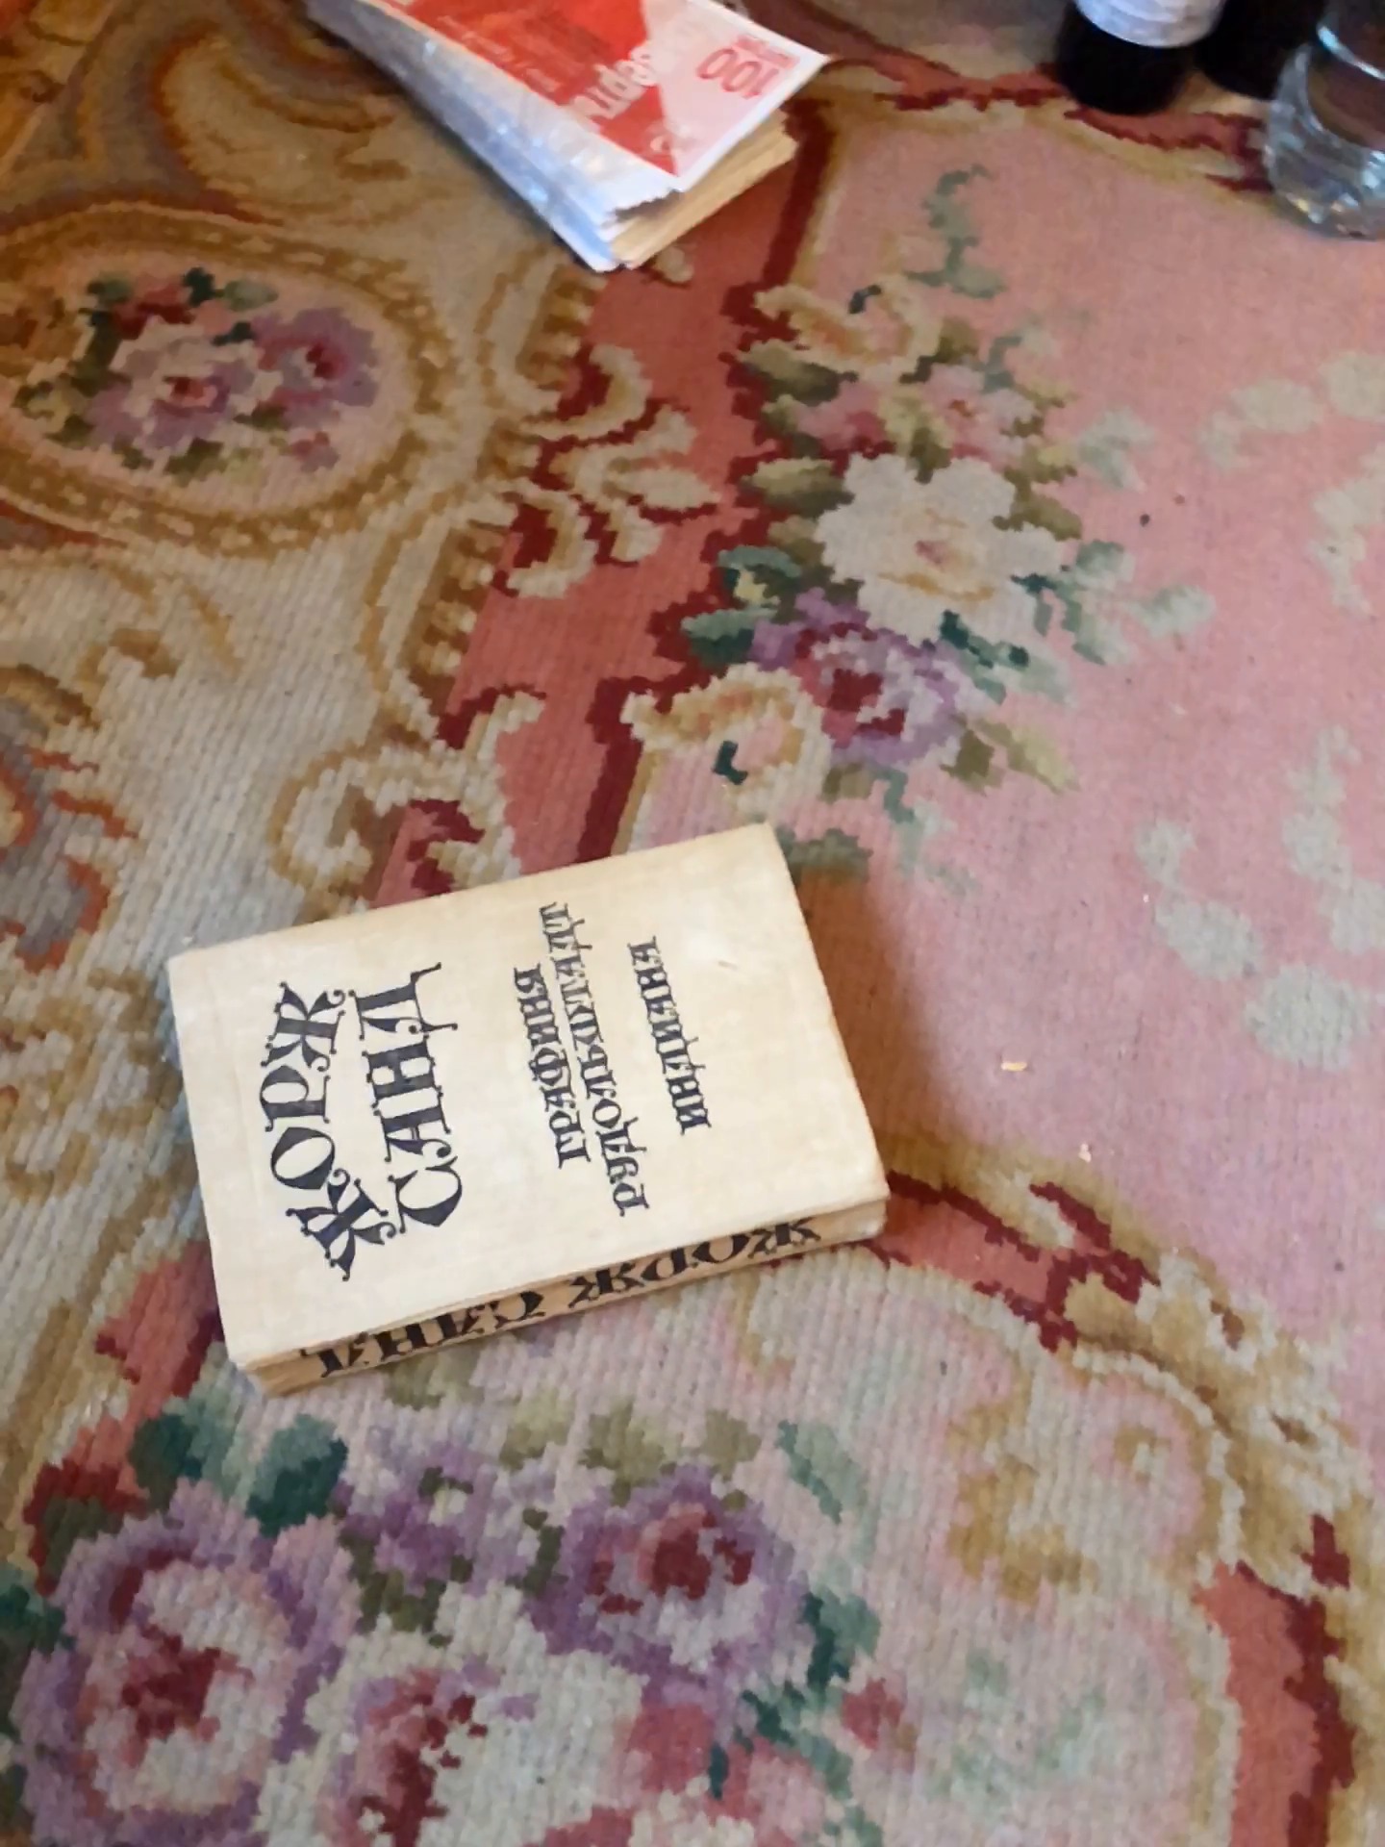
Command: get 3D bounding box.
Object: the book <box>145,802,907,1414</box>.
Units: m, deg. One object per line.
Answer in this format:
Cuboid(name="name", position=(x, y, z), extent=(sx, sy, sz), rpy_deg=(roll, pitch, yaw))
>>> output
Cuboid(name="book", position=(-0.059, 0.060, 0.523), extent=(0.220, 0.057, 0.150), rpy_deg=(-13, 68, -8))
